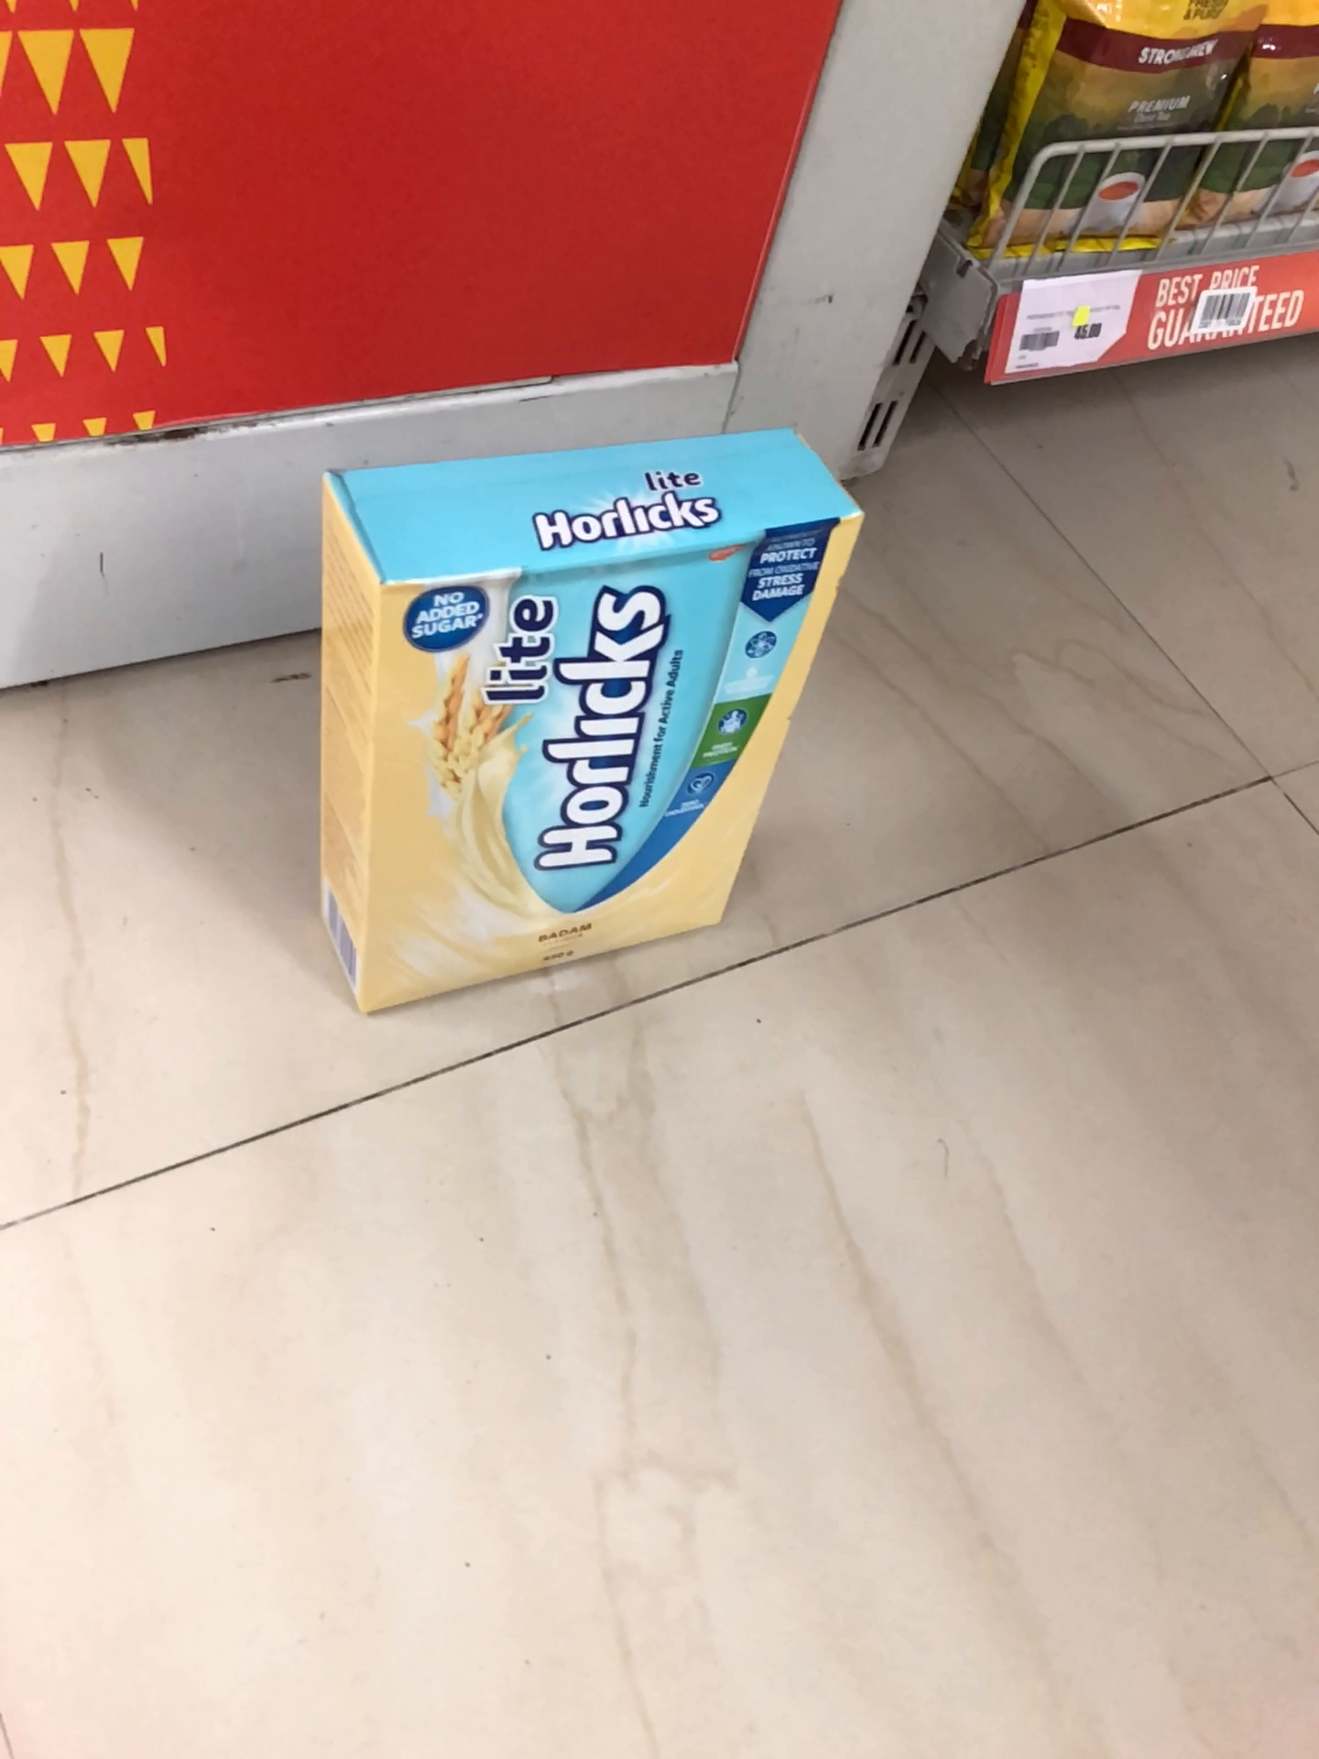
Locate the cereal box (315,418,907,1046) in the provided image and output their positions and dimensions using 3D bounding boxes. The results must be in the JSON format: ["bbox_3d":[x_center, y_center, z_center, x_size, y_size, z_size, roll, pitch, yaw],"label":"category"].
[{"bbox_3d":[-0.026,-0.041,0.455,0.151,0.189,0.050,-13,54,-24],"label":"cereal box"}]
